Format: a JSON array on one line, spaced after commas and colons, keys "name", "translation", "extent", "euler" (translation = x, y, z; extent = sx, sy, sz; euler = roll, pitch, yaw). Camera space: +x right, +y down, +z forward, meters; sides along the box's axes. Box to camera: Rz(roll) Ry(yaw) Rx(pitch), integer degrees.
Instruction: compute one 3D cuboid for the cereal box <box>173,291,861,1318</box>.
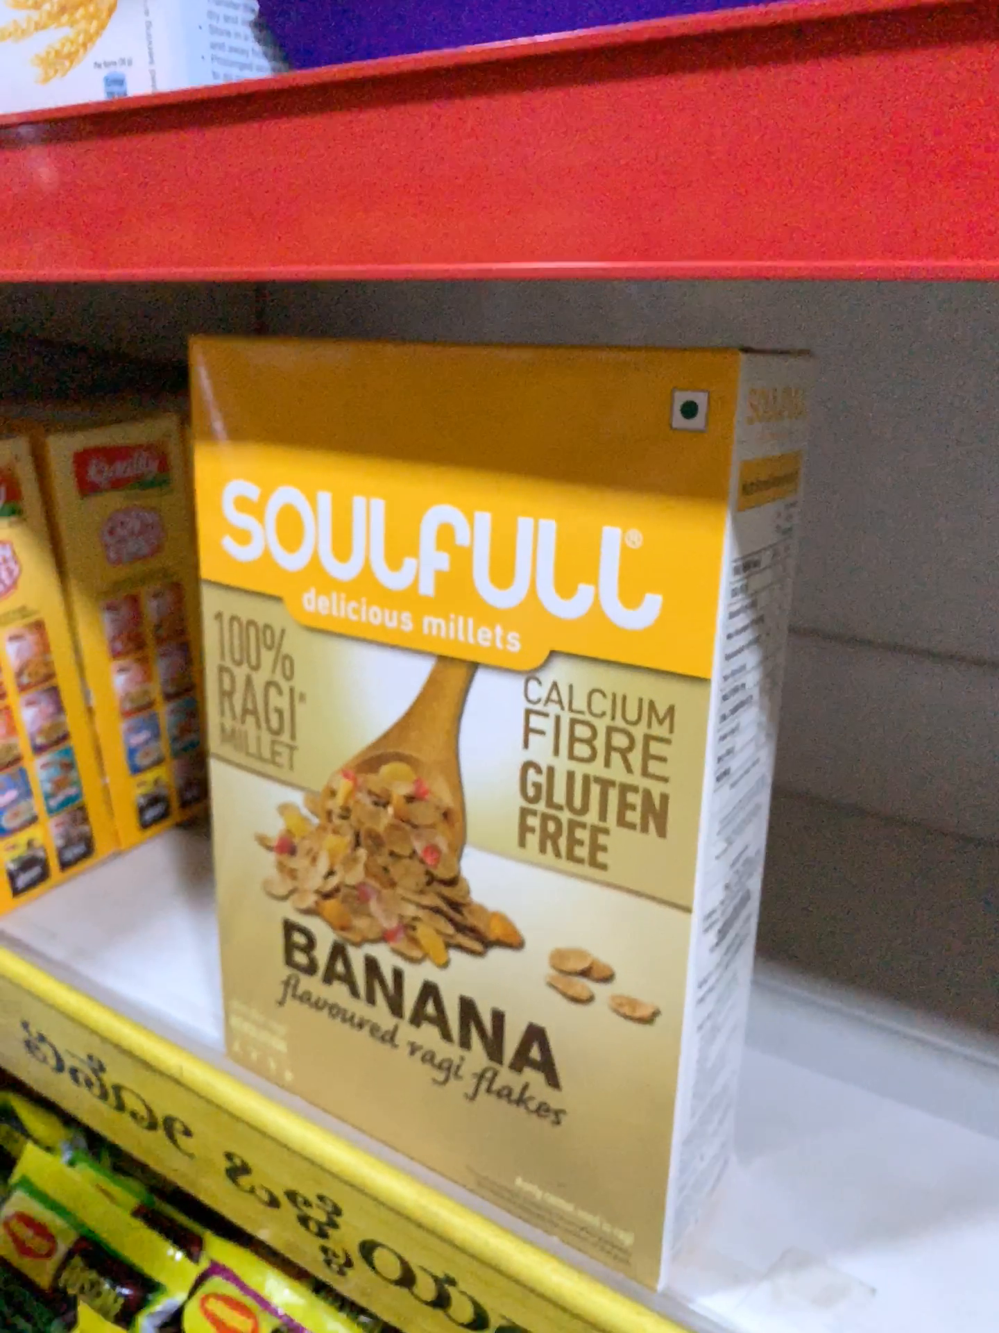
[{"name": "cereal box", "translation": [-0.005, 0.023, 0.285], "extent": [0.160, 0.229, 0.060], "euler": [11, 18, 31]}]
